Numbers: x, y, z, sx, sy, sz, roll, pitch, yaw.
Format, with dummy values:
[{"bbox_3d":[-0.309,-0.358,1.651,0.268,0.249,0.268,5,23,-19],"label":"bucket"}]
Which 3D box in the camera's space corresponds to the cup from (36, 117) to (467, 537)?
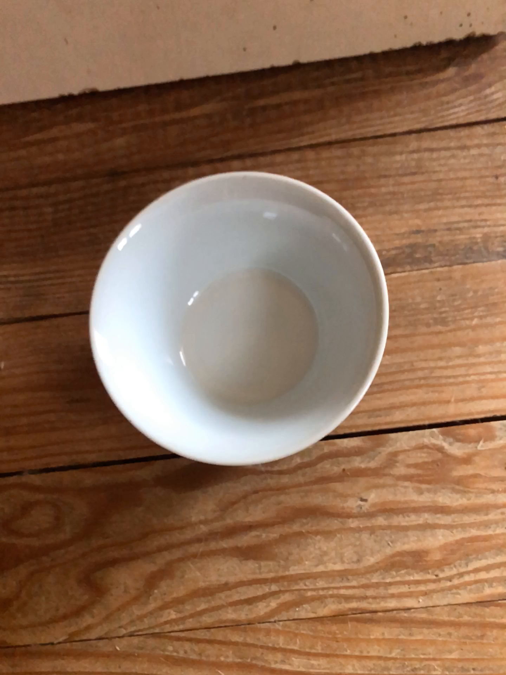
[{"bbox_3d":[-0.001,-0.005,0.214,0.110,0.040,0.100,-44,78,-6],"label":"cup"}]
